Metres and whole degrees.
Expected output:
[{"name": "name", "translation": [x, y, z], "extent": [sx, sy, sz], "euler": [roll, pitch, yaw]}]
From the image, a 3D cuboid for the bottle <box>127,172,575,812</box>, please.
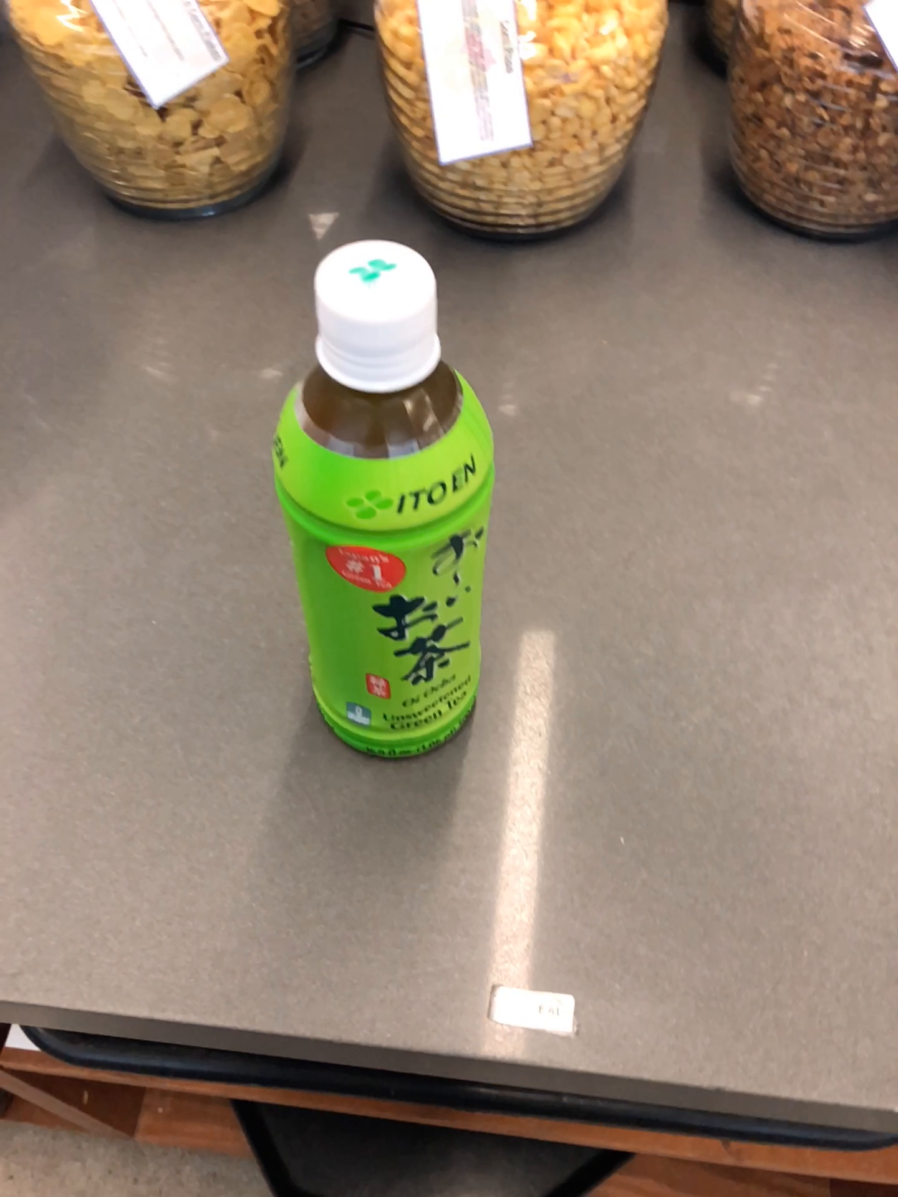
[{"name": "bottle", "translation": [-0.025, -0.021, 0.330], "extent": [0.080, 0.189, 0.080], "euler": [0, 55, 0]}]
